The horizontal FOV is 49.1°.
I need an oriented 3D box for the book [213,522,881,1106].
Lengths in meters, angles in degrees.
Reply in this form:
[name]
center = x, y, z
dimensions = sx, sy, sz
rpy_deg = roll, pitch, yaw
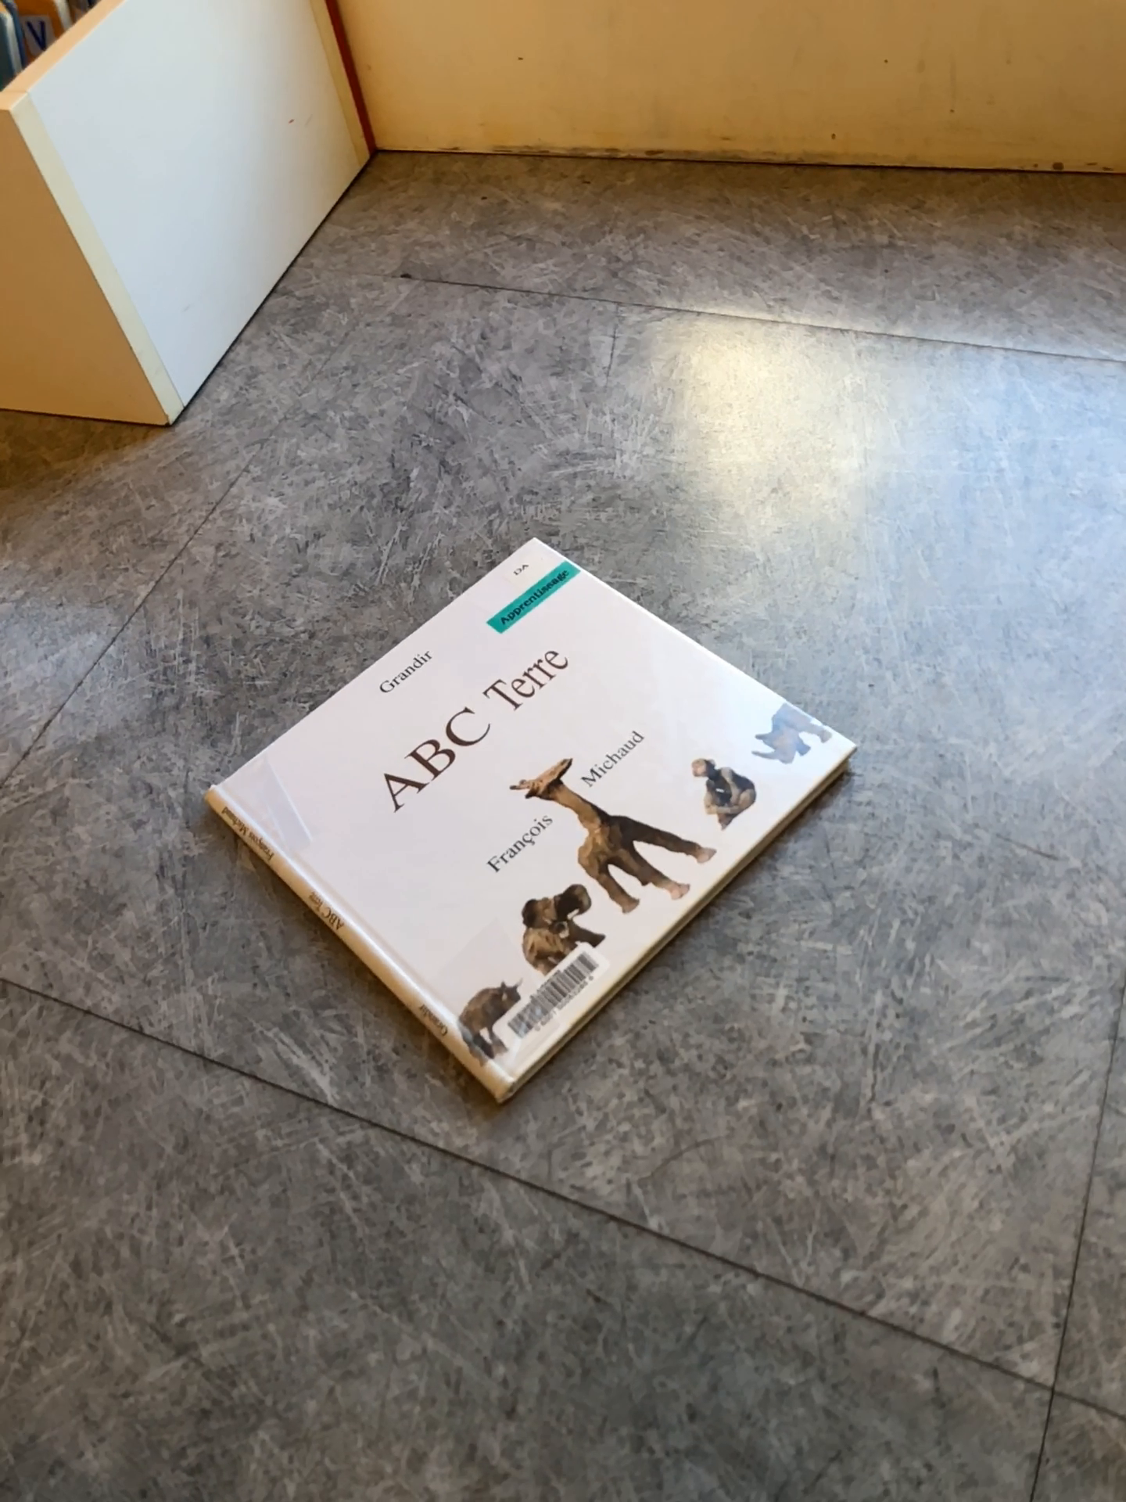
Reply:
[book]
center = -0.010, 0.008, 0.514
dimensions = 0.201, 0.020, 0.194
rpy_deg = -41, 57, -19
